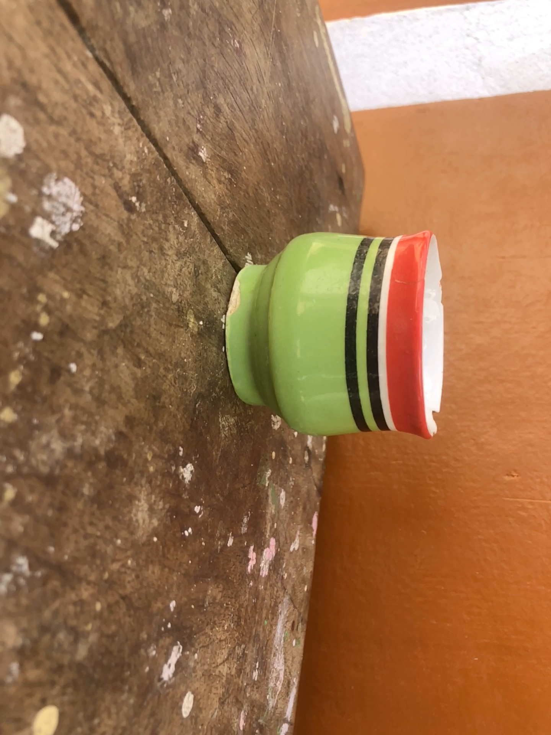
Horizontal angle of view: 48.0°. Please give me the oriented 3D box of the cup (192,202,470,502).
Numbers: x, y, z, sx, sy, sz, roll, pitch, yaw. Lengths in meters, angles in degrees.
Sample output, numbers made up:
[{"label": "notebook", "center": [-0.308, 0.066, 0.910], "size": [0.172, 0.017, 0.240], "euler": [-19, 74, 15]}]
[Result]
[{"label": "cup", "center": [0.025, -0.004, 0.197], "size": [0.090, 0.070, 0.070], "euler": [-2, 92, -74]}]
